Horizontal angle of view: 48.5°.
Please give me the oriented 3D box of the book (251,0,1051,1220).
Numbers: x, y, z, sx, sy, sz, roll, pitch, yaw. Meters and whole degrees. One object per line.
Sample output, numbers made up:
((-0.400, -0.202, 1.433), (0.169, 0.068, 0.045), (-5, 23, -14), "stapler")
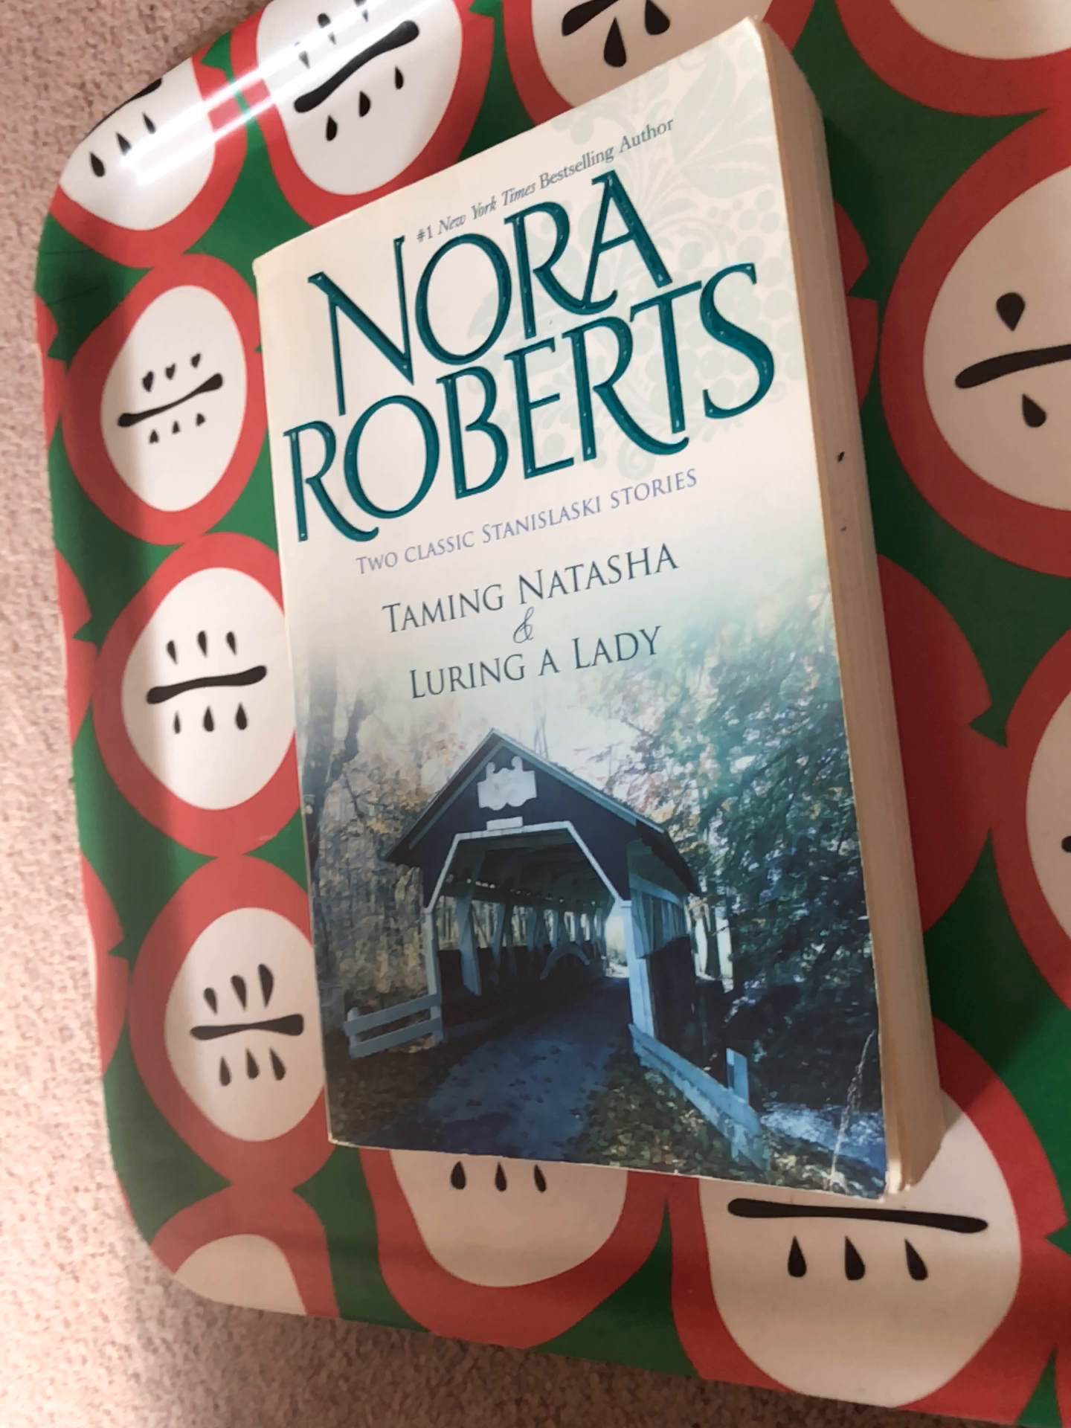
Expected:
((0.014, -0.021, 0.249), (0.141, 0.040, 0.220), (-9, 85, 34), "book")
